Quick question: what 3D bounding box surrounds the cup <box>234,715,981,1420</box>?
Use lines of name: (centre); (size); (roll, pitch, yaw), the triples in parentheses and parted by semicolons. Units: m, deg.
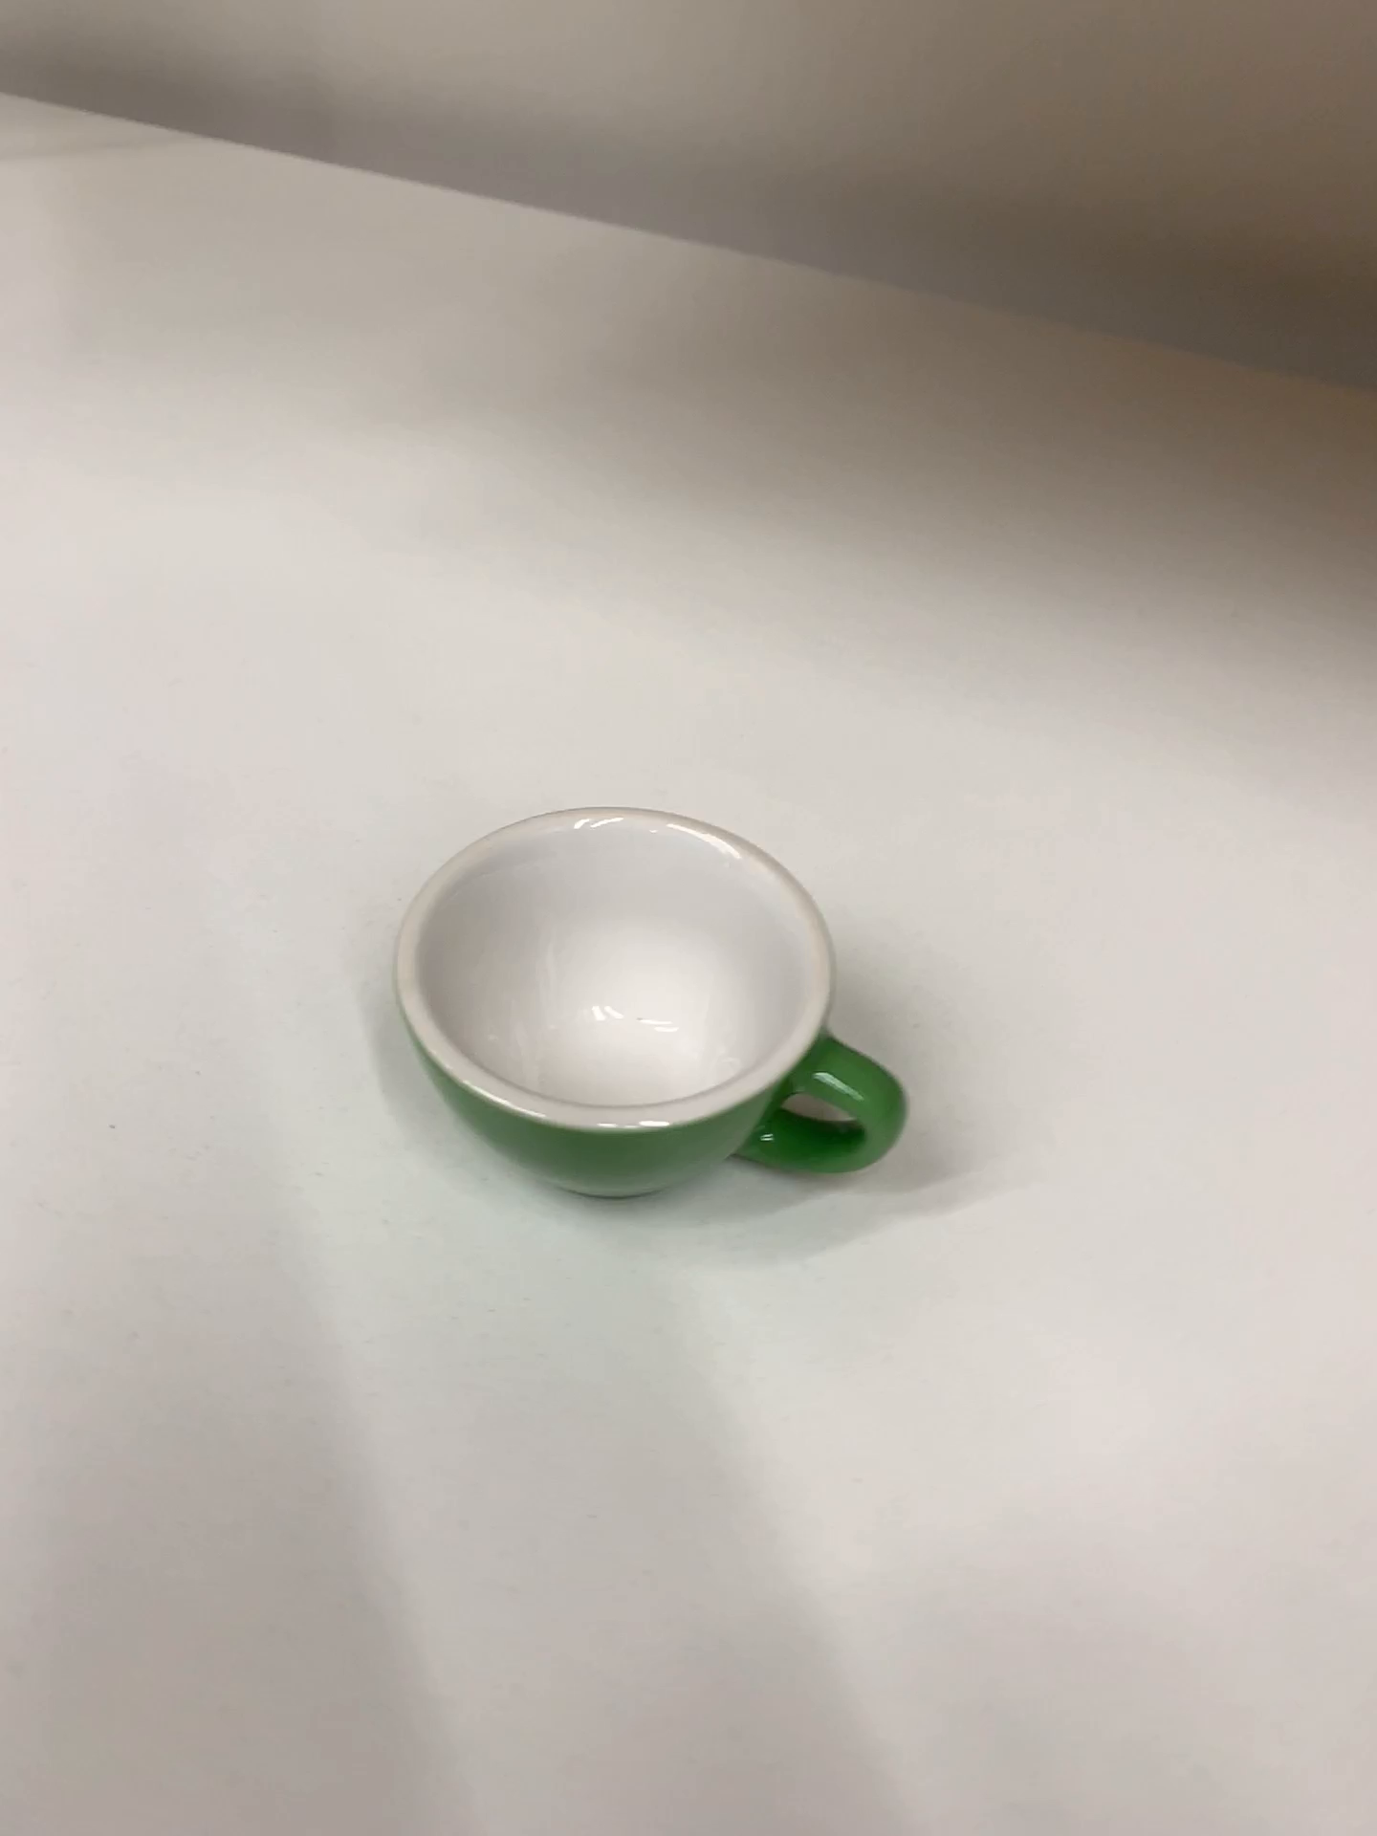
cup: (-0.008, 0.016, 0.185); (0.070, 0.040, 0.060); (18, 48, 15)
